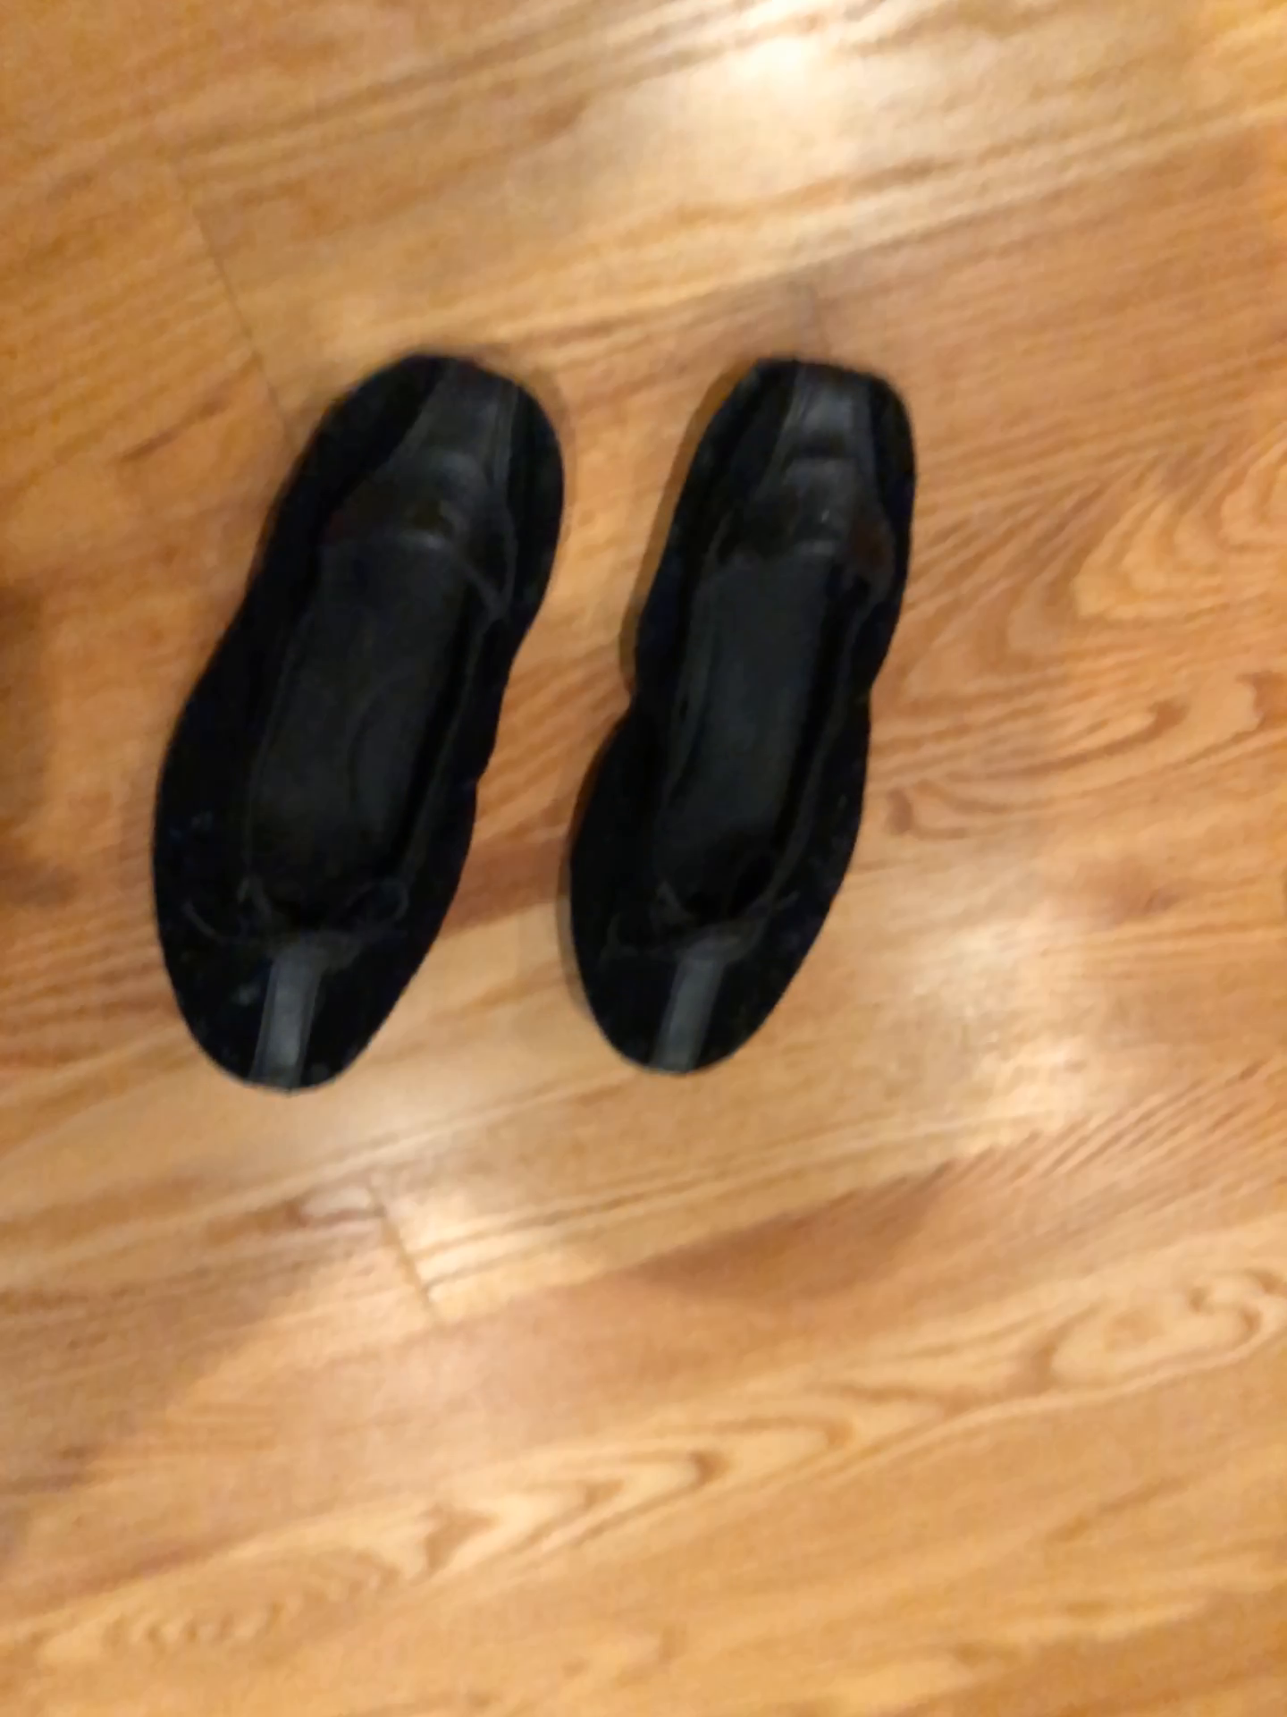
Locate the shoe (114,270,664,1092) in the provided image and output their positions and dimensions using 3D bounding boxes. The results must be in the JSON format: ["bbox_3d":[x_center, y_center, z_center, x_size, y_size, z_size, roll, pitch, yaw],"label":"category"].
[{"bbox_3d":[-0.081,-0.043,0.426,0.100,0.050,0.220,14,114,-15],"label":"shoe"}]

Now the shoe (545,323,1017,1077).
[{"bbox_3d":[0.033,-0.040,0.443,0.093,0.046,0.220,6,116,-11],"label":"shoe"}]
